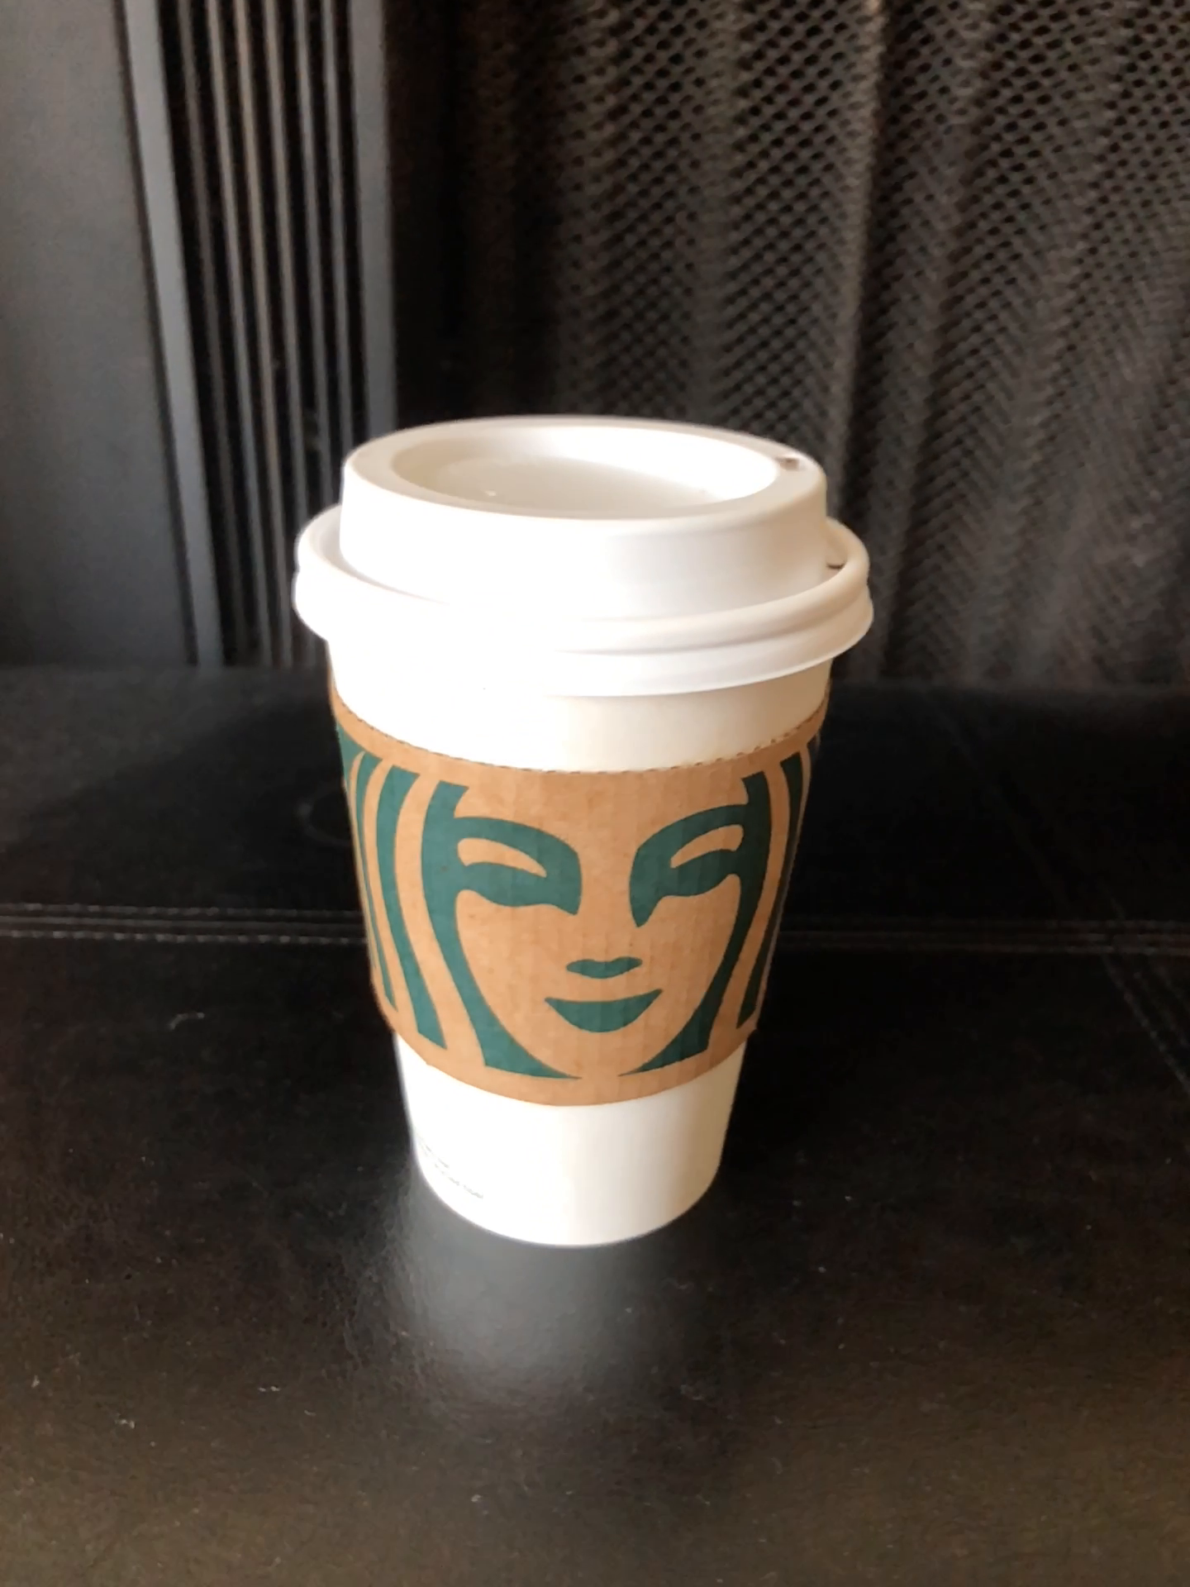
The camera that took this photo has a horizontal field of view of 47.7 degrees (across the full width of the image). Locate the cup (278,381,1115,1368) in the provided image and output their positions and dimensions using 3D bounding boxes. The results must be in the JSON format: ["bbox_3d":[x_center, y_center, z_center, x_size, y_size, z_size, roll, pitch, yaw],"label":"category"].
[{"bbox_3d":[0.006,0.004,0.221,0.090,0.120,0.090,2,27,-1],"label":"cup"}]
